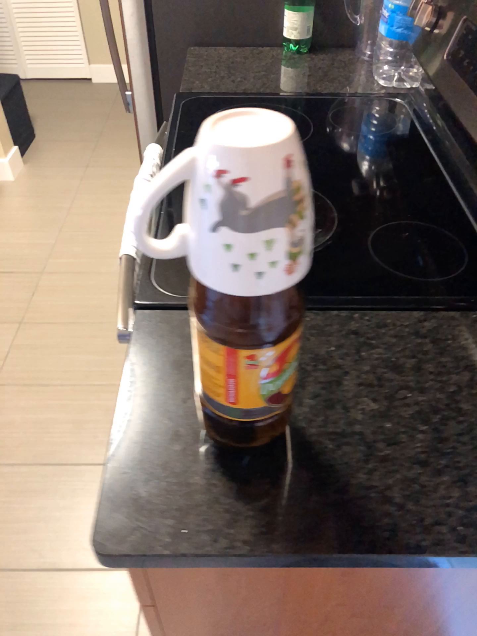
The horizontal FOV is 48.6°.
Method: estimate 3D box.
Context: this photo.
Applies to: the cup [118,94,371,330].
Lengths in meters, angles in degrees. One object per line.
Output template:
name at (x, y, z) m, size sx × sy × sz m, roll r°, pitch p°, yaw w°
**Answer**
cup at (0.000, -0.081, 0.388) m, size 0.140 × 0.109 × 0.100 m, roll -15°, pitch 47°, yaw -16°
